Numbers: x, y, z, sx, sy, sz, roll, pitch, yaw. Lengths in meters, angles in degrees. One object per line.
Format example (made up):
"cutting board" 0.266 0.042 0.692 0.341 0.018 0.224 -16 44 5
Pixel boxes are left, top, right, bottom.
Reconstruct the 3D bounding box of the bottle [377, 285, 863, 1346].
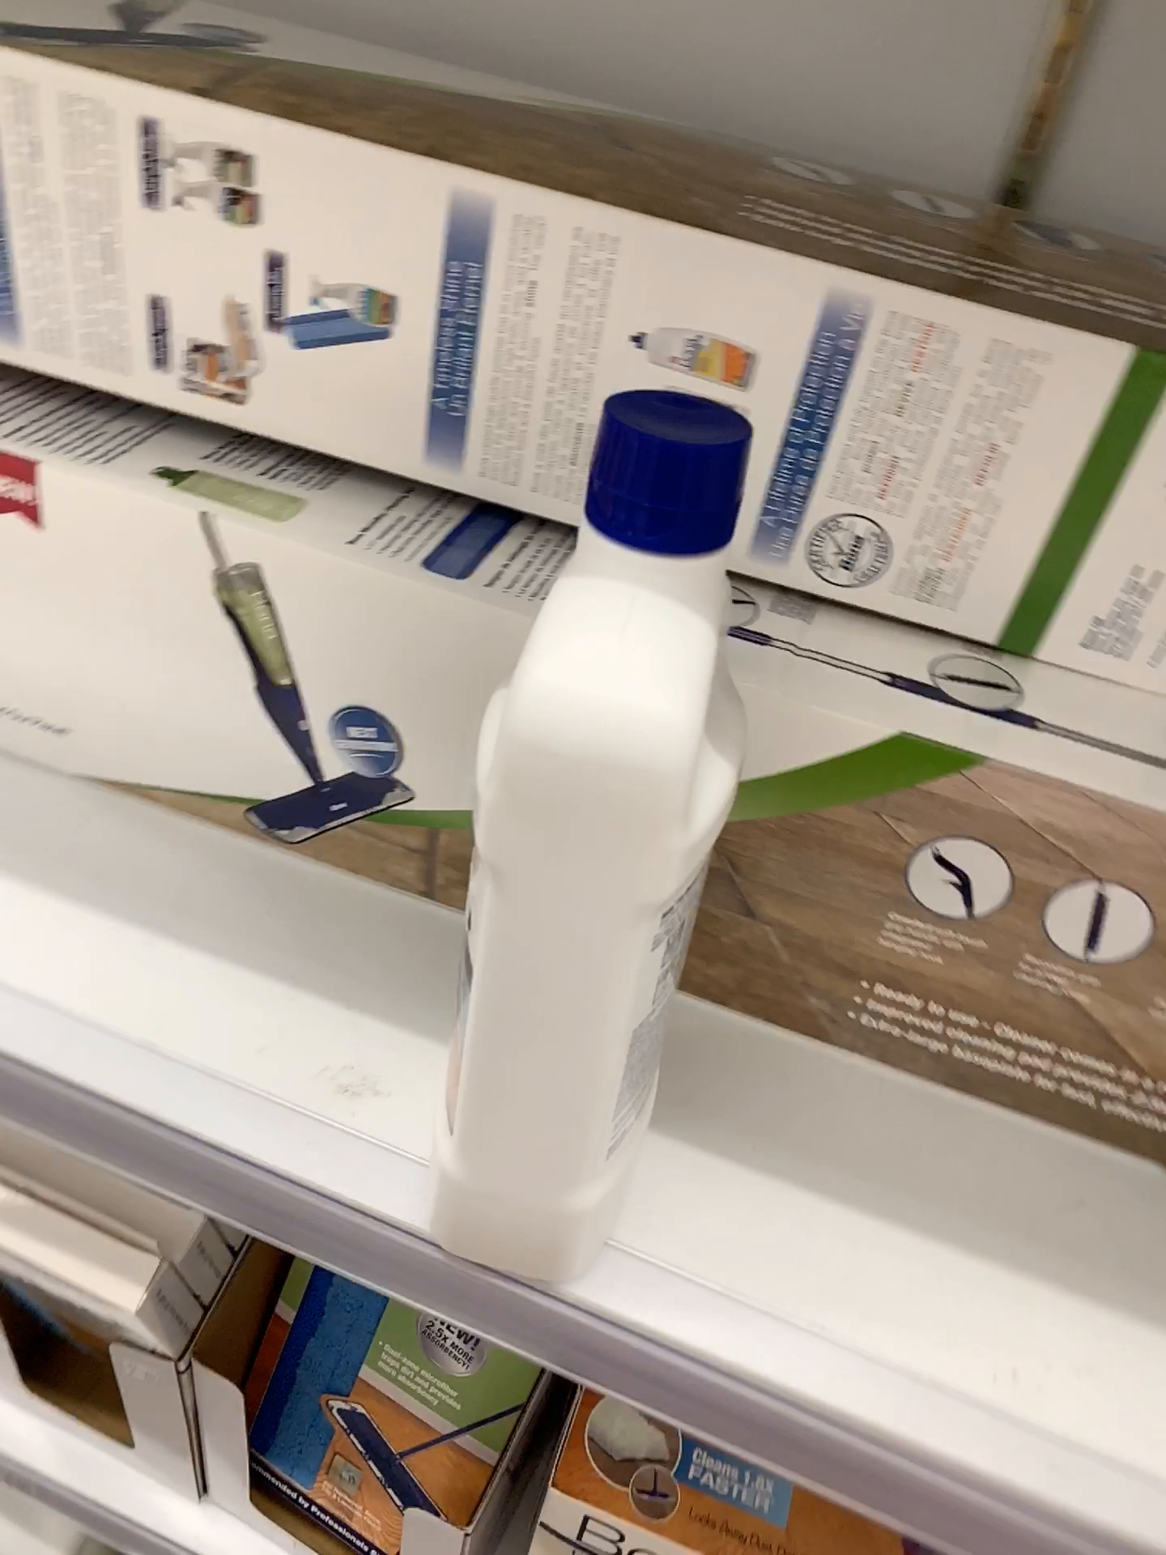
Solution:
"bottle" 0.003 0.022 0.324 0.070 0.259 0.121 13 37 3
